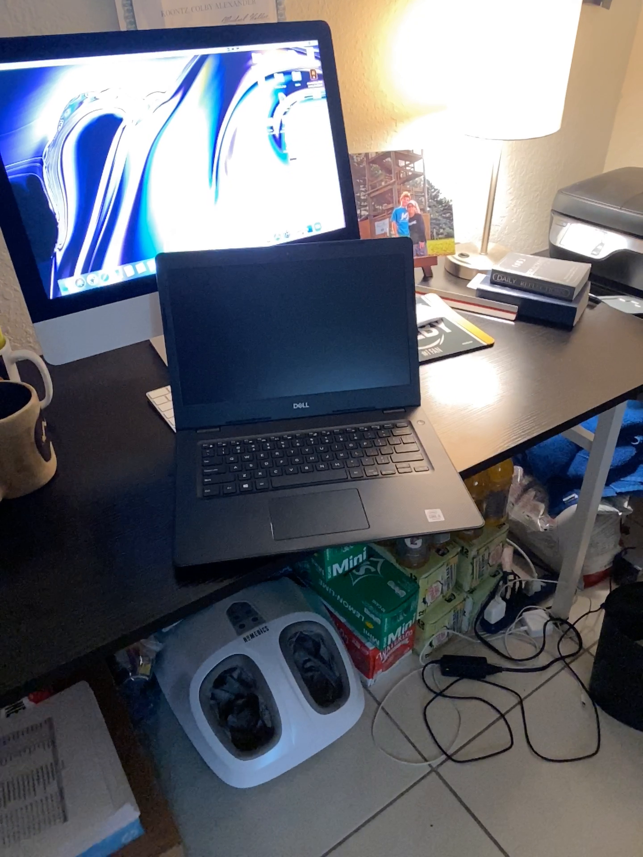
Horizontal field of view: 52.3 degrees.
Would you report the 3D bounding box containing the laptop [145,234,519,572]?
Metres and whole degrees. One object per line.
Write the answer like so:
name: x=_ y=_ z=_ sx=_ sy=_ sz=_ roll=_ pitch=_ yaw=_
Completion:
laptop: x=-0.013 y=-0.056 z=0.776 sx=0.336 sy=0.206 sz=0.345 roll=-7 pitch=36 yaw=-7
